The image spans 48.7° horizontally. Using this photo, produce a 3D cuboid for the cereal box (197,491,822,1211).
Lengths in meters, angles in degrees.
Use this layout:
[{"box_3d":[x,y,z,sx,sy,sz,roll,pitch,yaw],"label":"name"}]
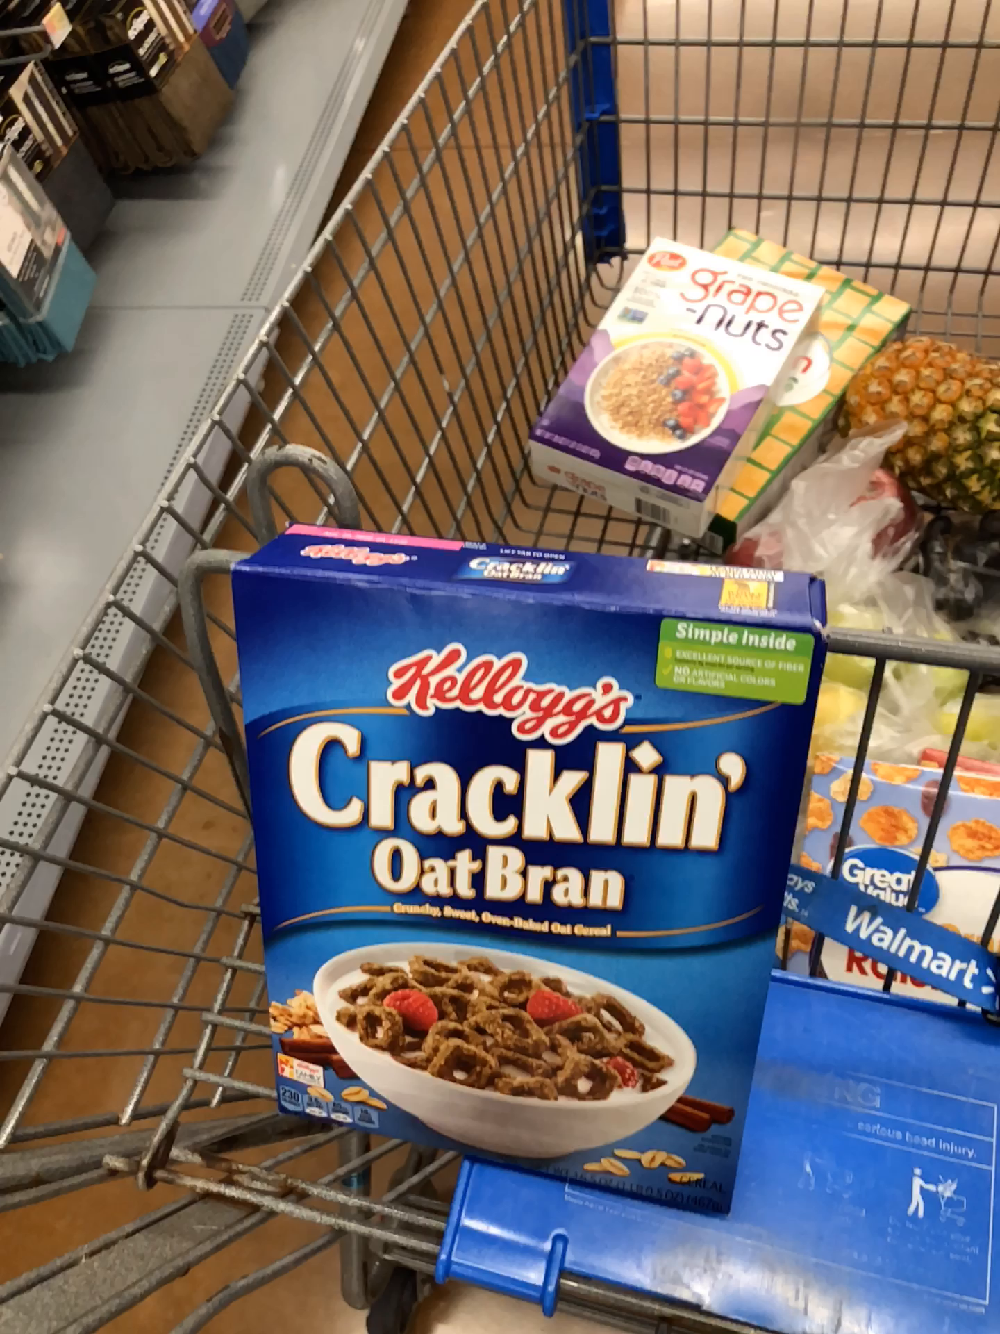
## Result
[{"box_3d":[0.002,0.073,0.420,0.200,0.260,0.050,6,25,12],"label":"cereal box"}]
